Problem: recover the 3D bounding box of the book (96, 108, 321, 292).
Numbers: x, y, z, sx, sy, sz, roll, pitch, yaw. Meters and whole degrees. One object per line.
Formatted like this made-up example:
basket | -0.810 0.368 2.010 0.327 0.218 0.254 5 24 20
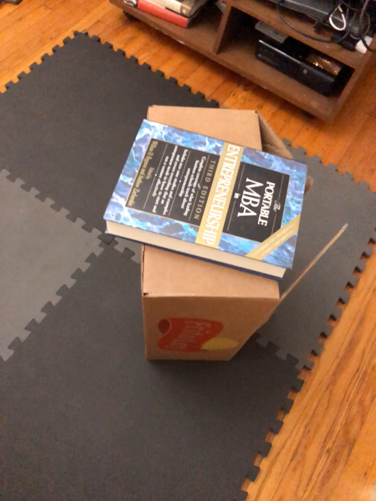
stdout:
book | 0.037 -0.080 0.599 0.270 0.060 0.211 14 63 4
